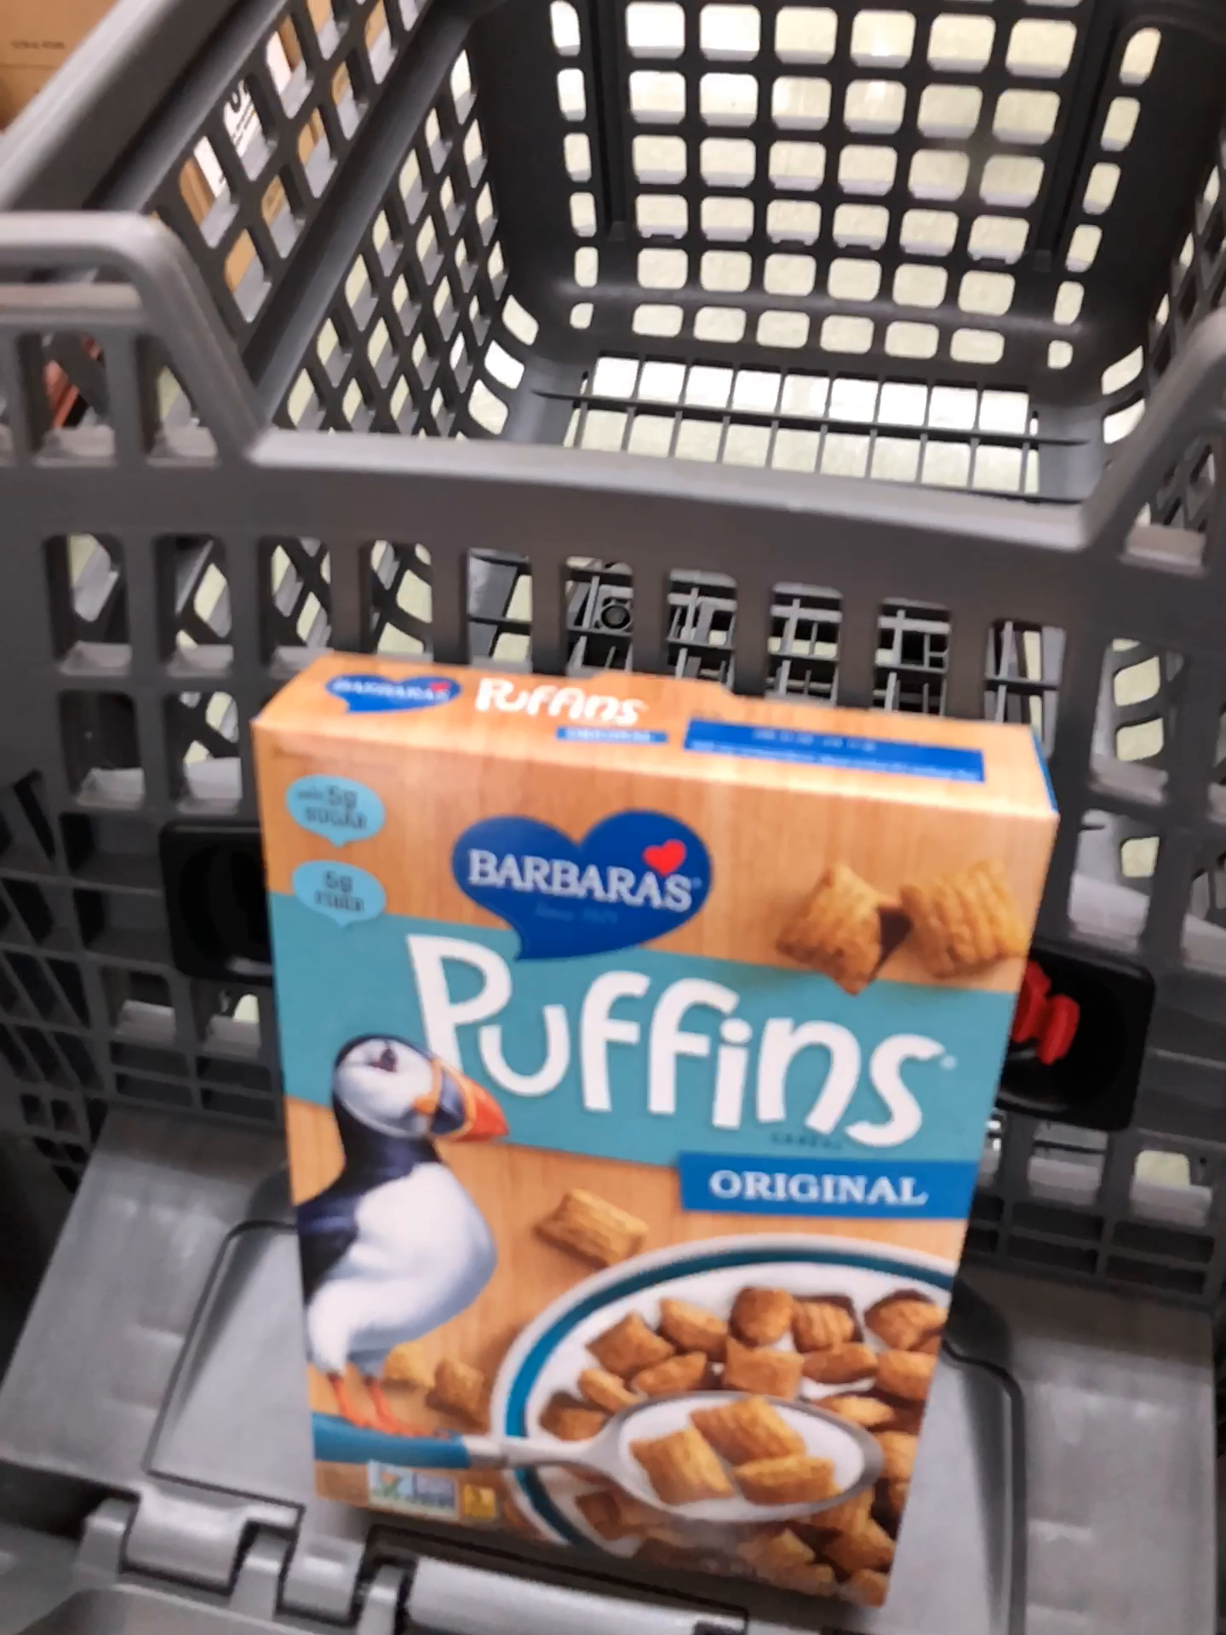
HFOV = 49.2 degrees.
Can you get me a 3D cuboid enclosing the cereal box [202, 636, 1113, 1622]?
[{"bbox_3d":[0.003,0.093,0.358,0.190,0.260,0.050,7,28,8],"label":"cereal box"}]
